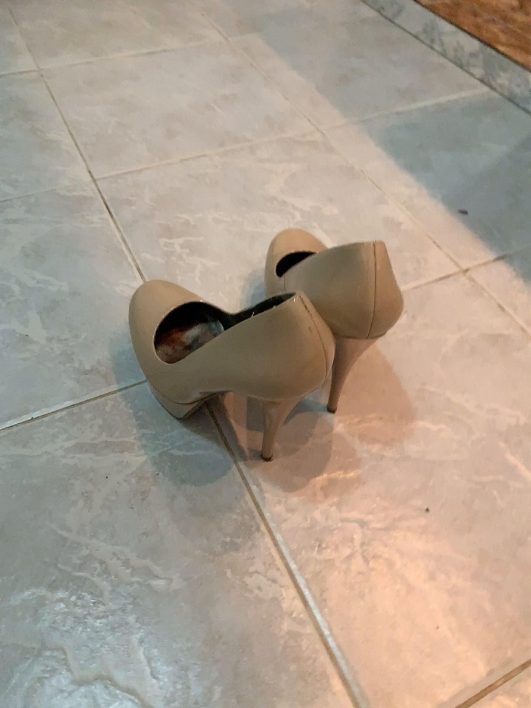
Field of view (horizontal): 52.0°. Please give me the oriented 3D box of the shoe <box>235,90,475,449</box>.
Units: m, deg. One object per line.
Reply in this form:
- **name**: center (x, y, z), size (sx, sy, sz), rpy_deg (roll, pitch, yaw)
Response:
- **shoe**: center (0.044, -0.069, 0.431), size (0.087, 0.176, 0.211), rpy_deg (-11, 52, -12)

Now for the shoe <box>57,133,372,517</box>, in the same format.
- **shoe**: center (-0.044, -0.023, 0.392), size (0.087, 0.166, 0.211), rpy_deg (-29, 58, -24)
